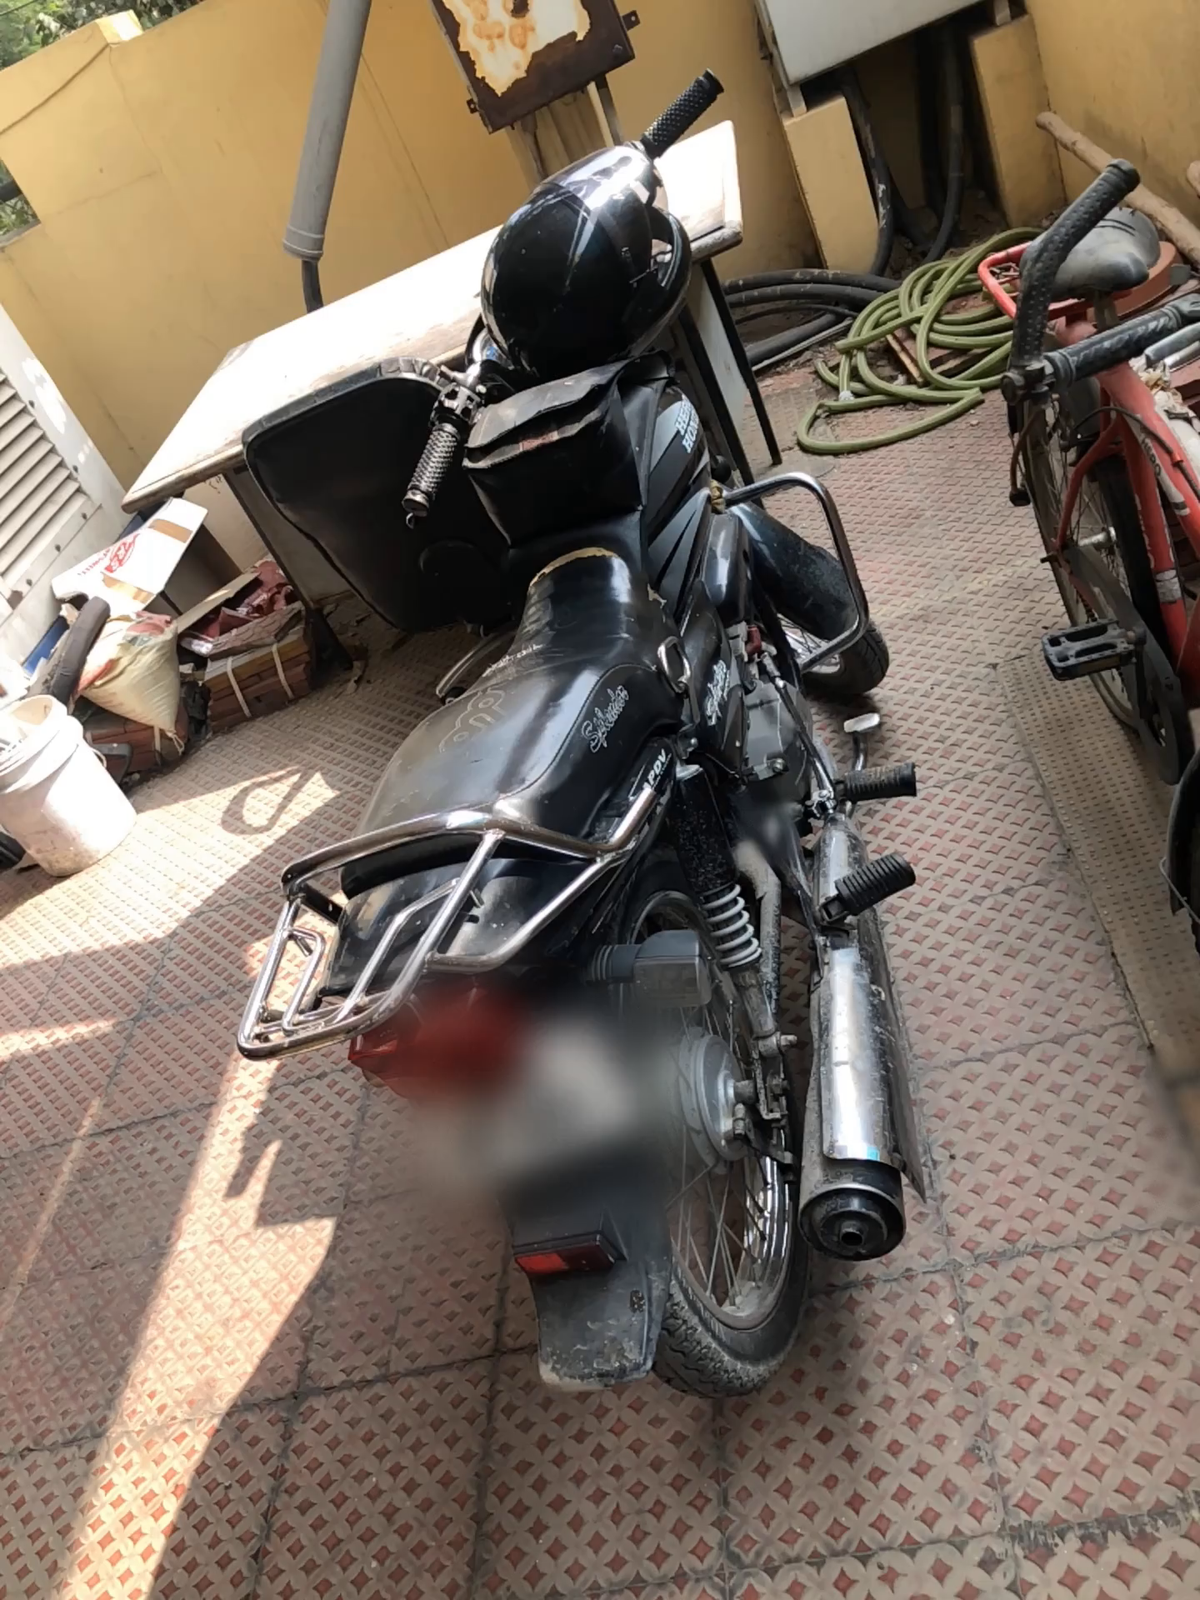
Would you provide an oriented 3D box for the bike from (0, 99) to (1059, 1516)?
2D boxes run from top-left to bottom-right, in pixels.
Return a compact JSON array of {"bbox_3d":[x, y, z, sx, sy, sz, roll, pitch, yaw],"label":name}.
[{"bbox_3d":[-0.097,-0.134,1.739,0.713,1.027,1.623,-18,34,14],"label":"bike"}]
